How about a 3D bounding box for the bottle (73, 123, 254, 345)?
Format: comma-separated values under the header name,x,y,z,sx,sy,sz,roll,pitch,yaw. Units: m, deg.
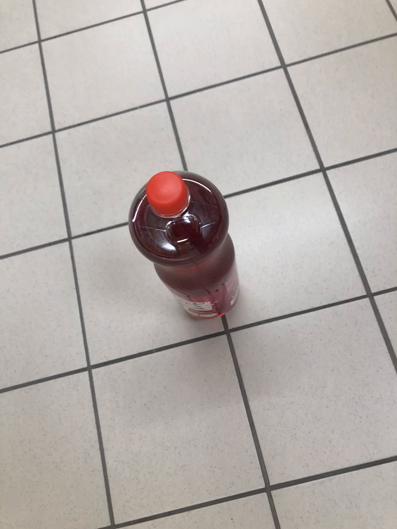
name,x,y,z,sx,sy,sz,roll,pitch,yaw
bottle,-0.007,-0.002,0.467,0.100,0.309,0.100,-2,72,7
